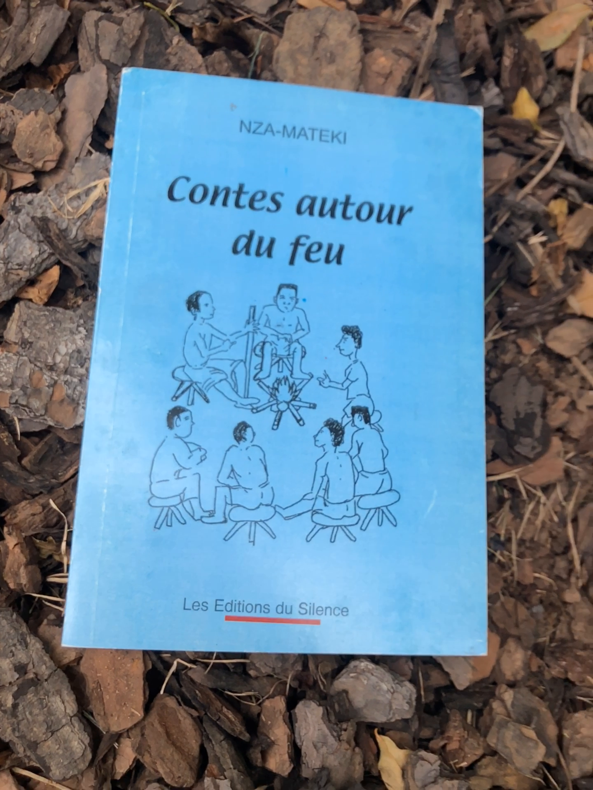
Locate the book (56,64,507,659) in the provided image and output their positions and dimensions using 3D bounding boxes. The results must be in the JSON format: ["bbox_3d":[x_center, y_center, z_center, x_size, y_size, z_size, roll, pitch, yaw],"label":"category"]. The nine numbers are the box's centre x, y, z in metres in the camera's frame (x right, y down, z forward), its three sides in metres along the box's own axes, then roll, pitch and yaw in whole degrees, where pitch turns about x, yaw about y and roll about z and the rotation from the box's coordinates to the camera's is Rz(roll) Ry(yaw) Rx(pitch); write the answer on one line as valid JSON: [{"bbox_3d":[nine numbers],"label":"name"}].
[{"bbox_3d":[0.002,-0.016,0.238,0.144,0.015,0.202,4,79,-6],"label":"book"}]
